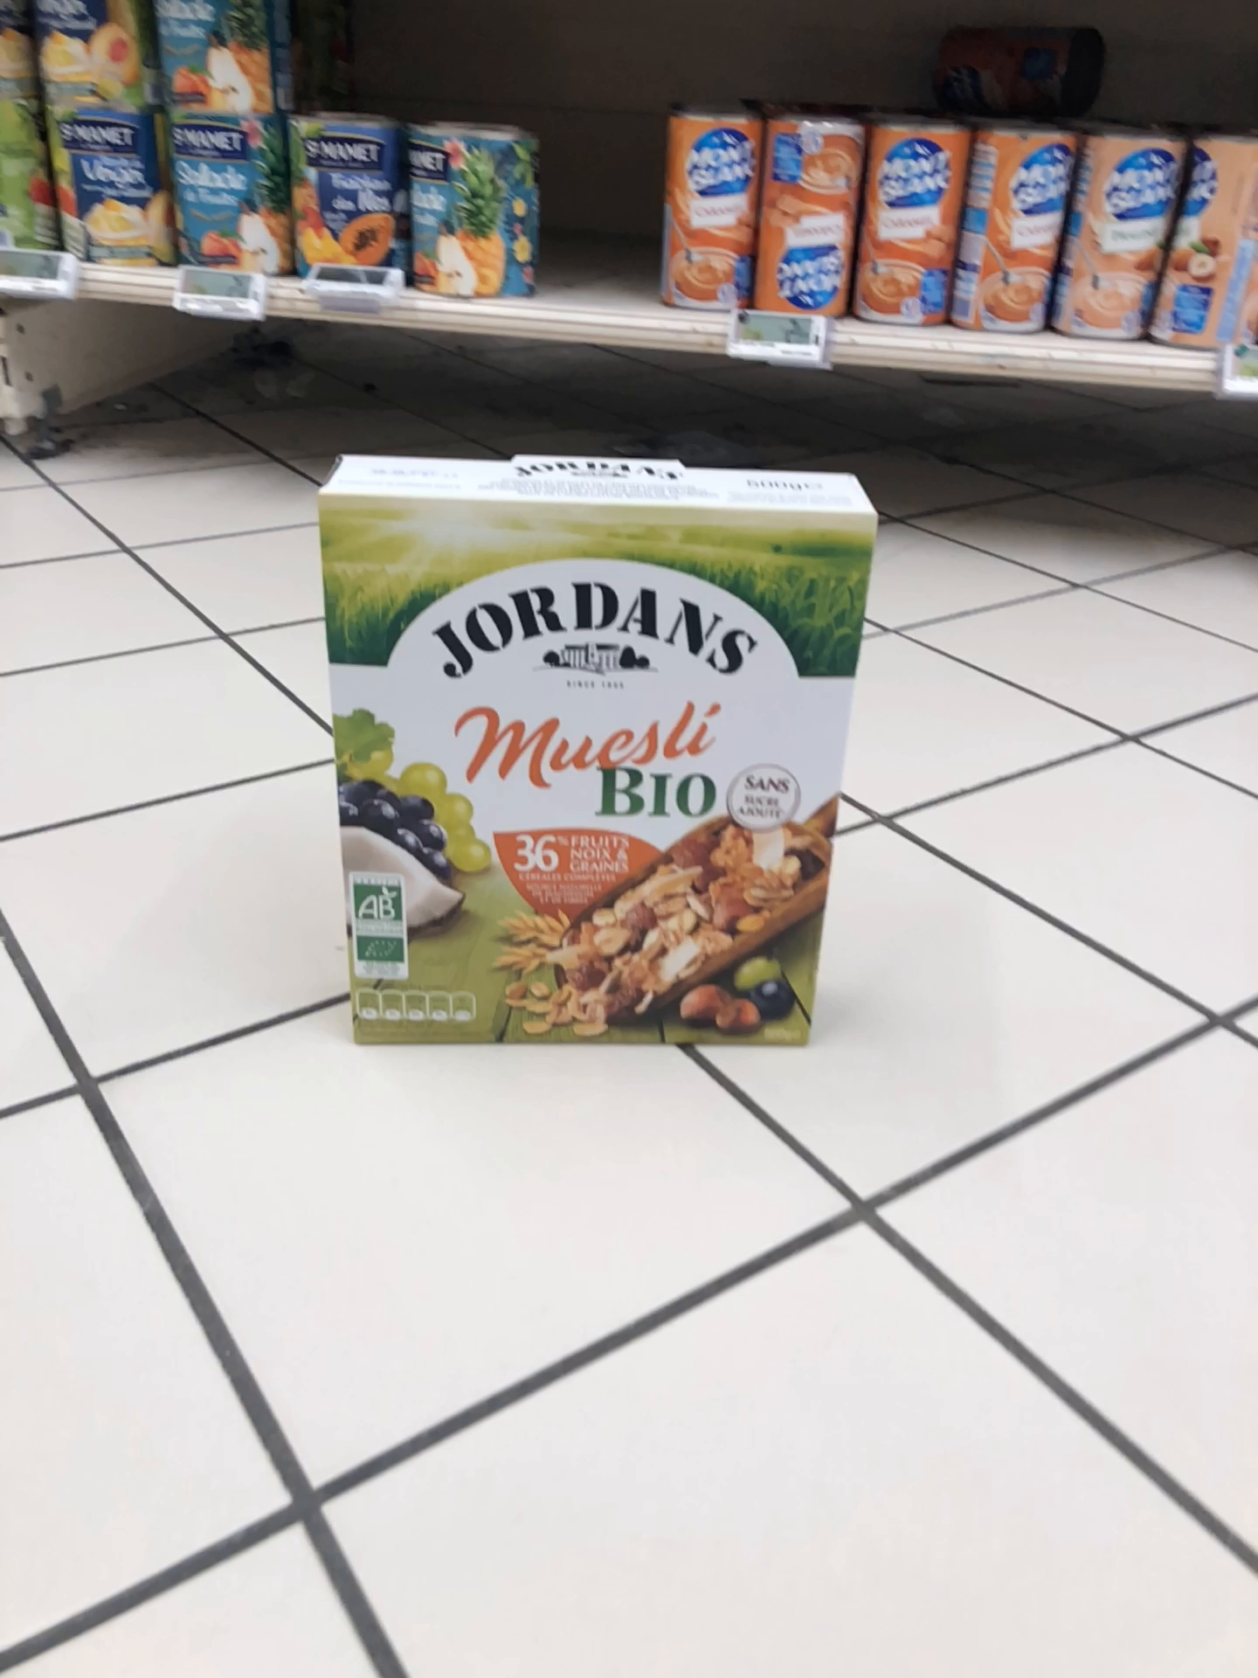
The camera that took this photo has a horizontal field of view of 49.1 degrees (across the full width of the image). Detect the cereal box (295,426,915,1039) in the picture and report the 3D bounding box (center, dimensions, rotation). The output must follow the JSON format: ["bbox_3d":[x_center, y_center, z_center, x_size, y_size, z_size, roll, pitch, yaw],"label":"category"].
[{"bbox_3d":[-0.012,-0.032,0.498,0.190,0.209,0.060,1,28,-4],"label":"cereal box"}]
